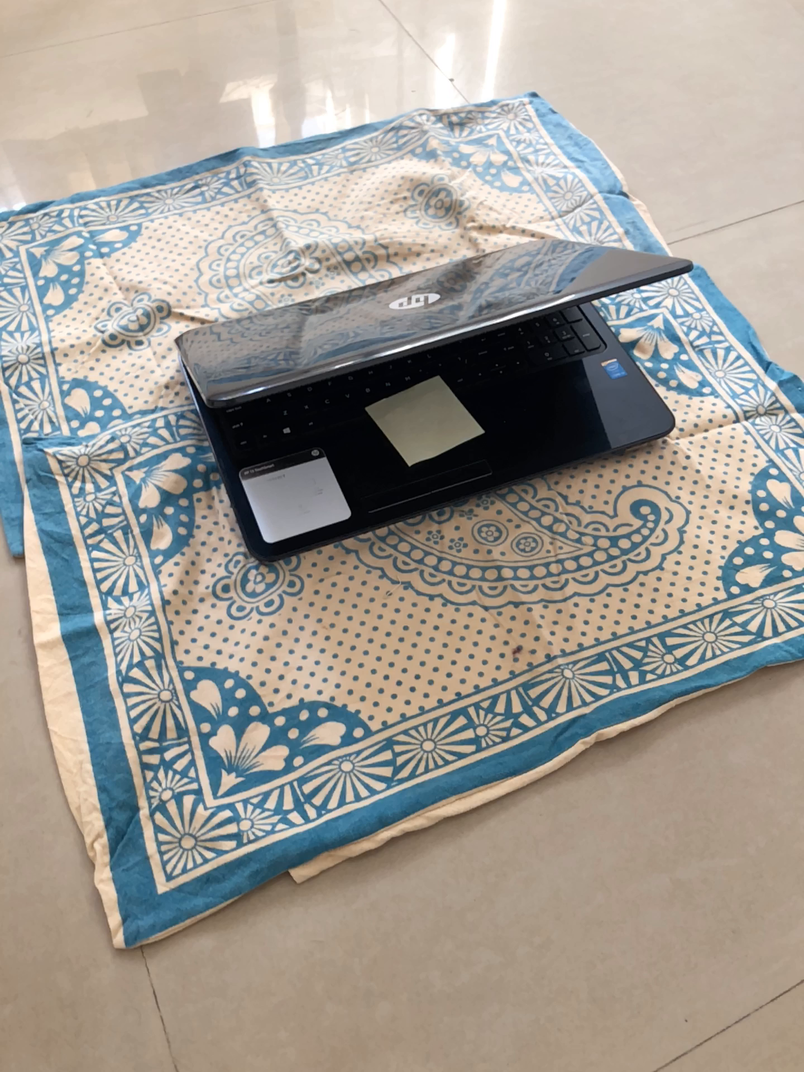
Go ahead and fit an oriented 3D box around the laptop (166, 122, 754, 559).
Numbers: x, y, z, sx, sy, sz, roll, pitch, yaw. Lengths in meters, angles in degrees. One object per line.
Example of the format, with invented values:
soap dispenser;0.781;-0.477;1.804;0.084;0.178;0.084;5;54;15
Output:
laptop;0.028;-0.165;0.713;0.363;0.151;0.237;-17;56;-10
